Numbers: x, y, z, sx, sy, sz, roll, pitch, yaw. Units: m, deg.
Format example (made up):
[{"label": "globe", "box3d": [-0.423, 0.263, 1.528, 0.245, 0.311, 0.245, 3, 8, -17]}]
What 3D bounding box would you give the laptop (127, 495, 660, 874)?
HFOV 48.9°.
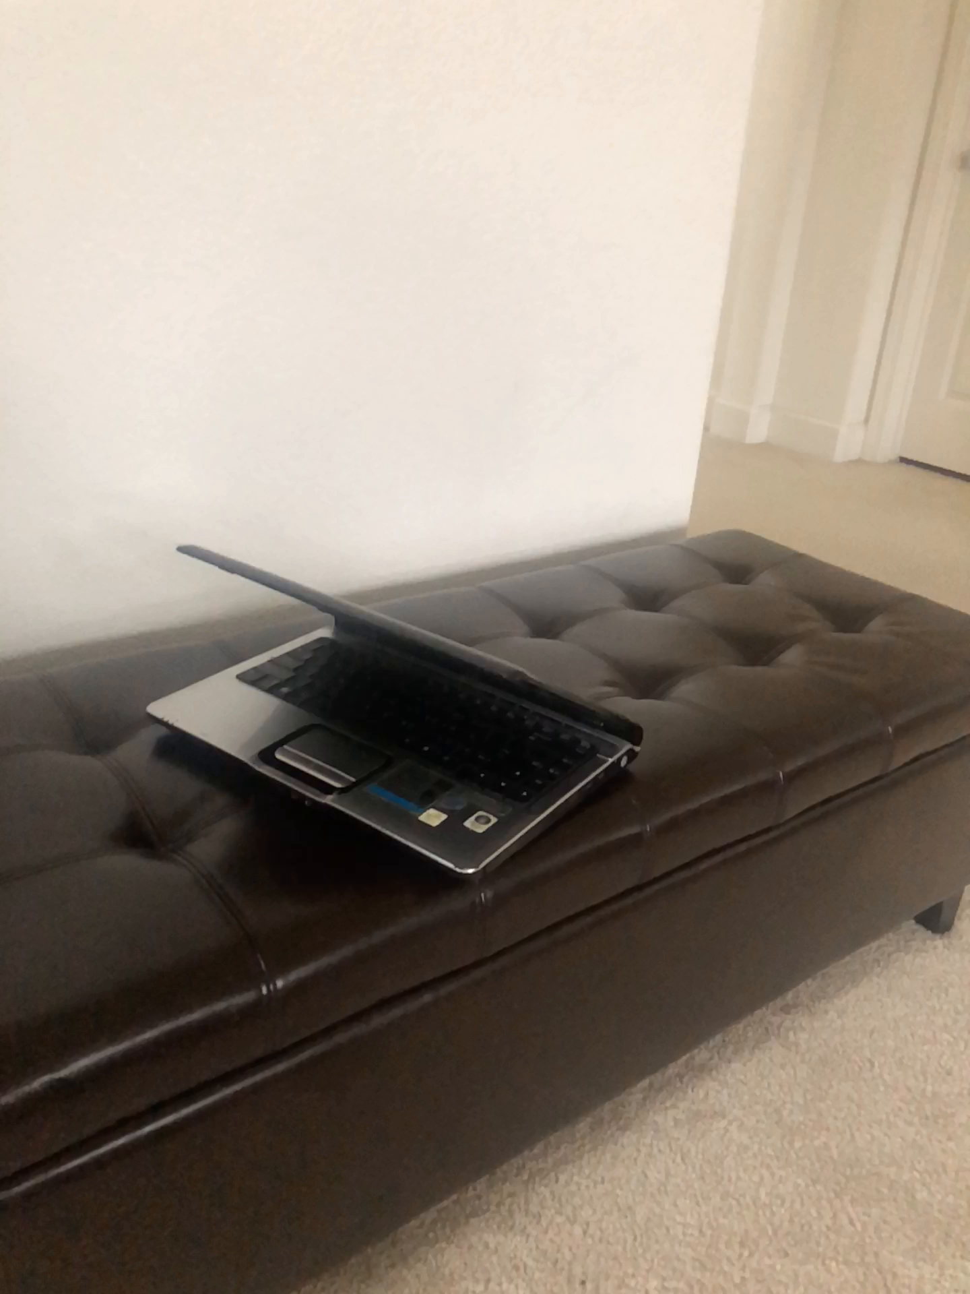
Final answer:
[{"label": "laptop", "box3d": [-0.072, 0.002, 0.816, 0.333, 0.122, 0.230, 20, 29, 32]}]
